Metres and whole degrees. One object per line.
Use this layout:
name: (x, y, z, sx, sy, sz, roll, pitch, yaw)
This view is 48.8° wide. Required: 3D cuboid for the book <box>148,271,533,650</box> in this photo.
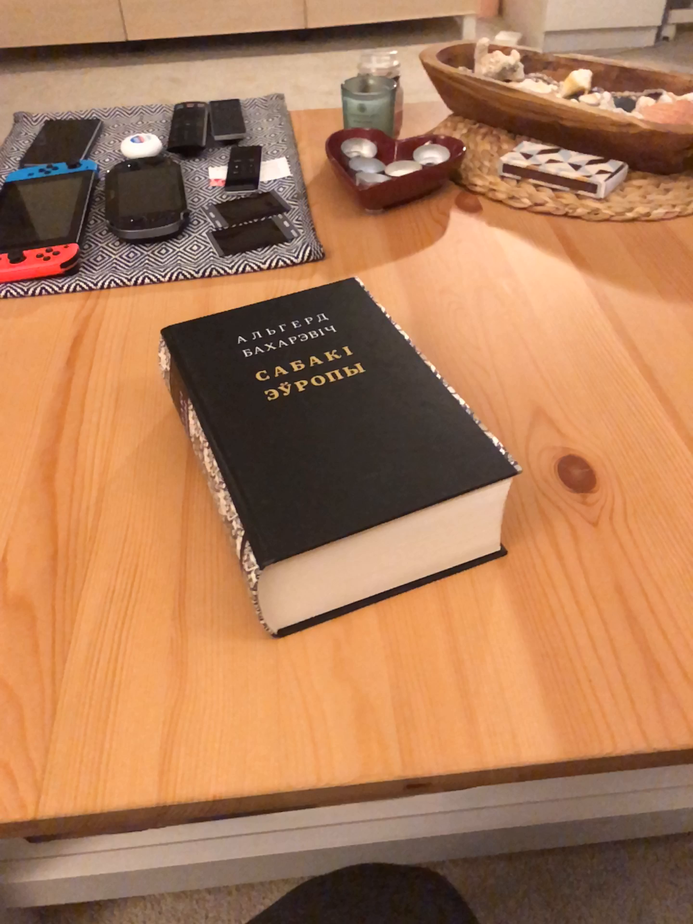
book: (-0.016, -0.019, 0.483, 0.157, 0.061, 0.230, -19, 47, -14)
